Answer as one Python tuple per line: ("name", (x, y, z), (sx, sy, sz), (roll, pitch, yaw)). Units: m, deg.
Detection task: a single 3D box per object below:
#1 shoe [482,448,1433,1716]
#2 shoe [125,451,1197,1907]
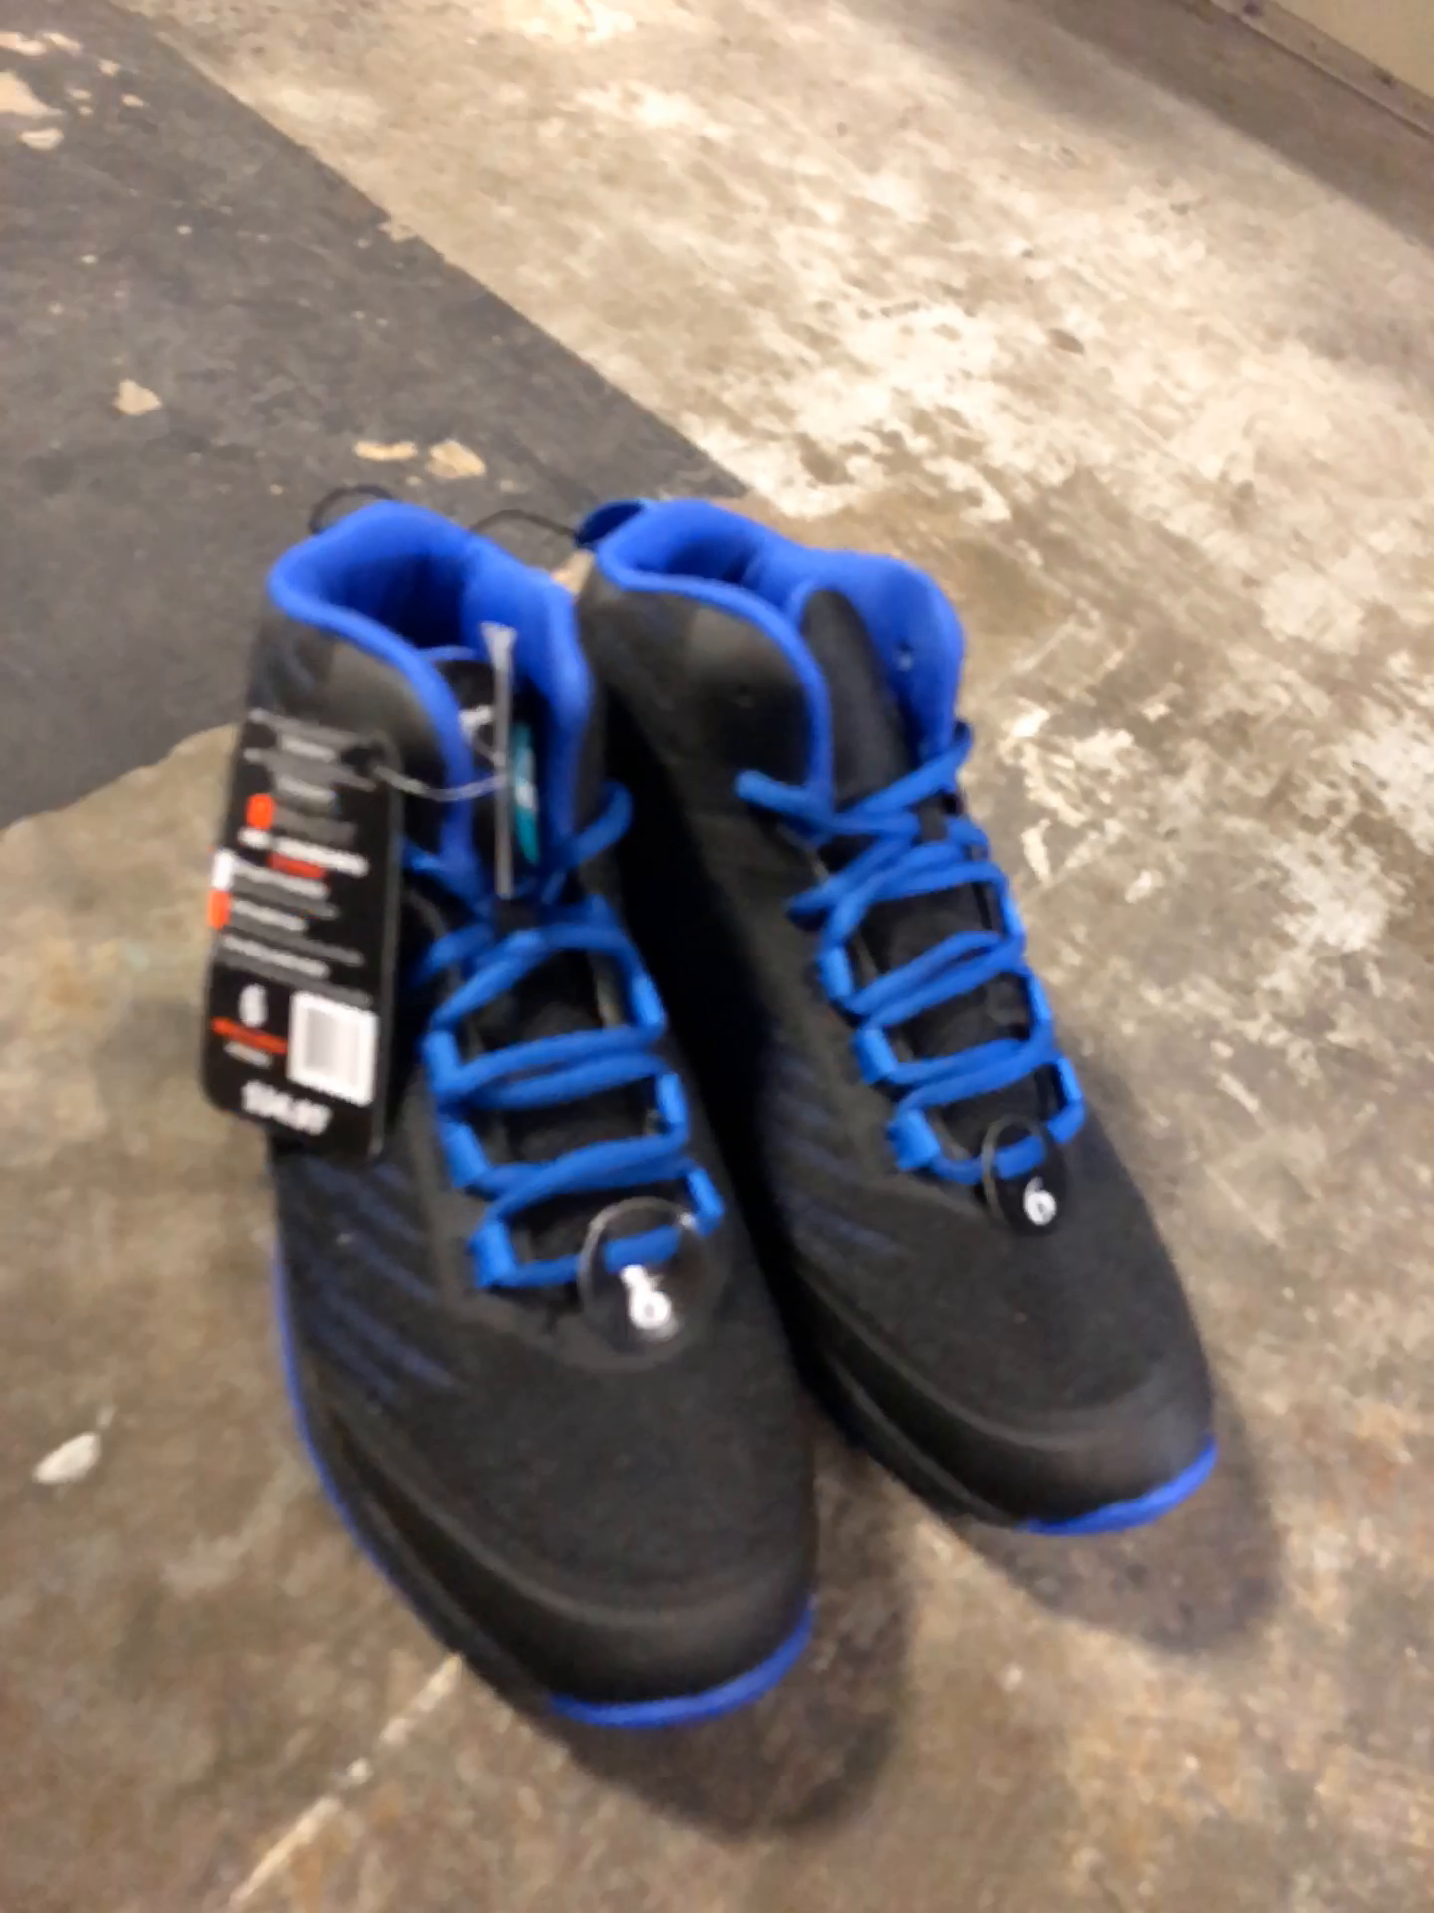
("shoe", (0.048, 0.017, 0.345), (0.110, 0.119, 0.231), (-19, 61, -24))
("shoe", (-0.033, 0.029, 0.289), (0.100, 0.119, 0.221), (-12, 57, -20))
